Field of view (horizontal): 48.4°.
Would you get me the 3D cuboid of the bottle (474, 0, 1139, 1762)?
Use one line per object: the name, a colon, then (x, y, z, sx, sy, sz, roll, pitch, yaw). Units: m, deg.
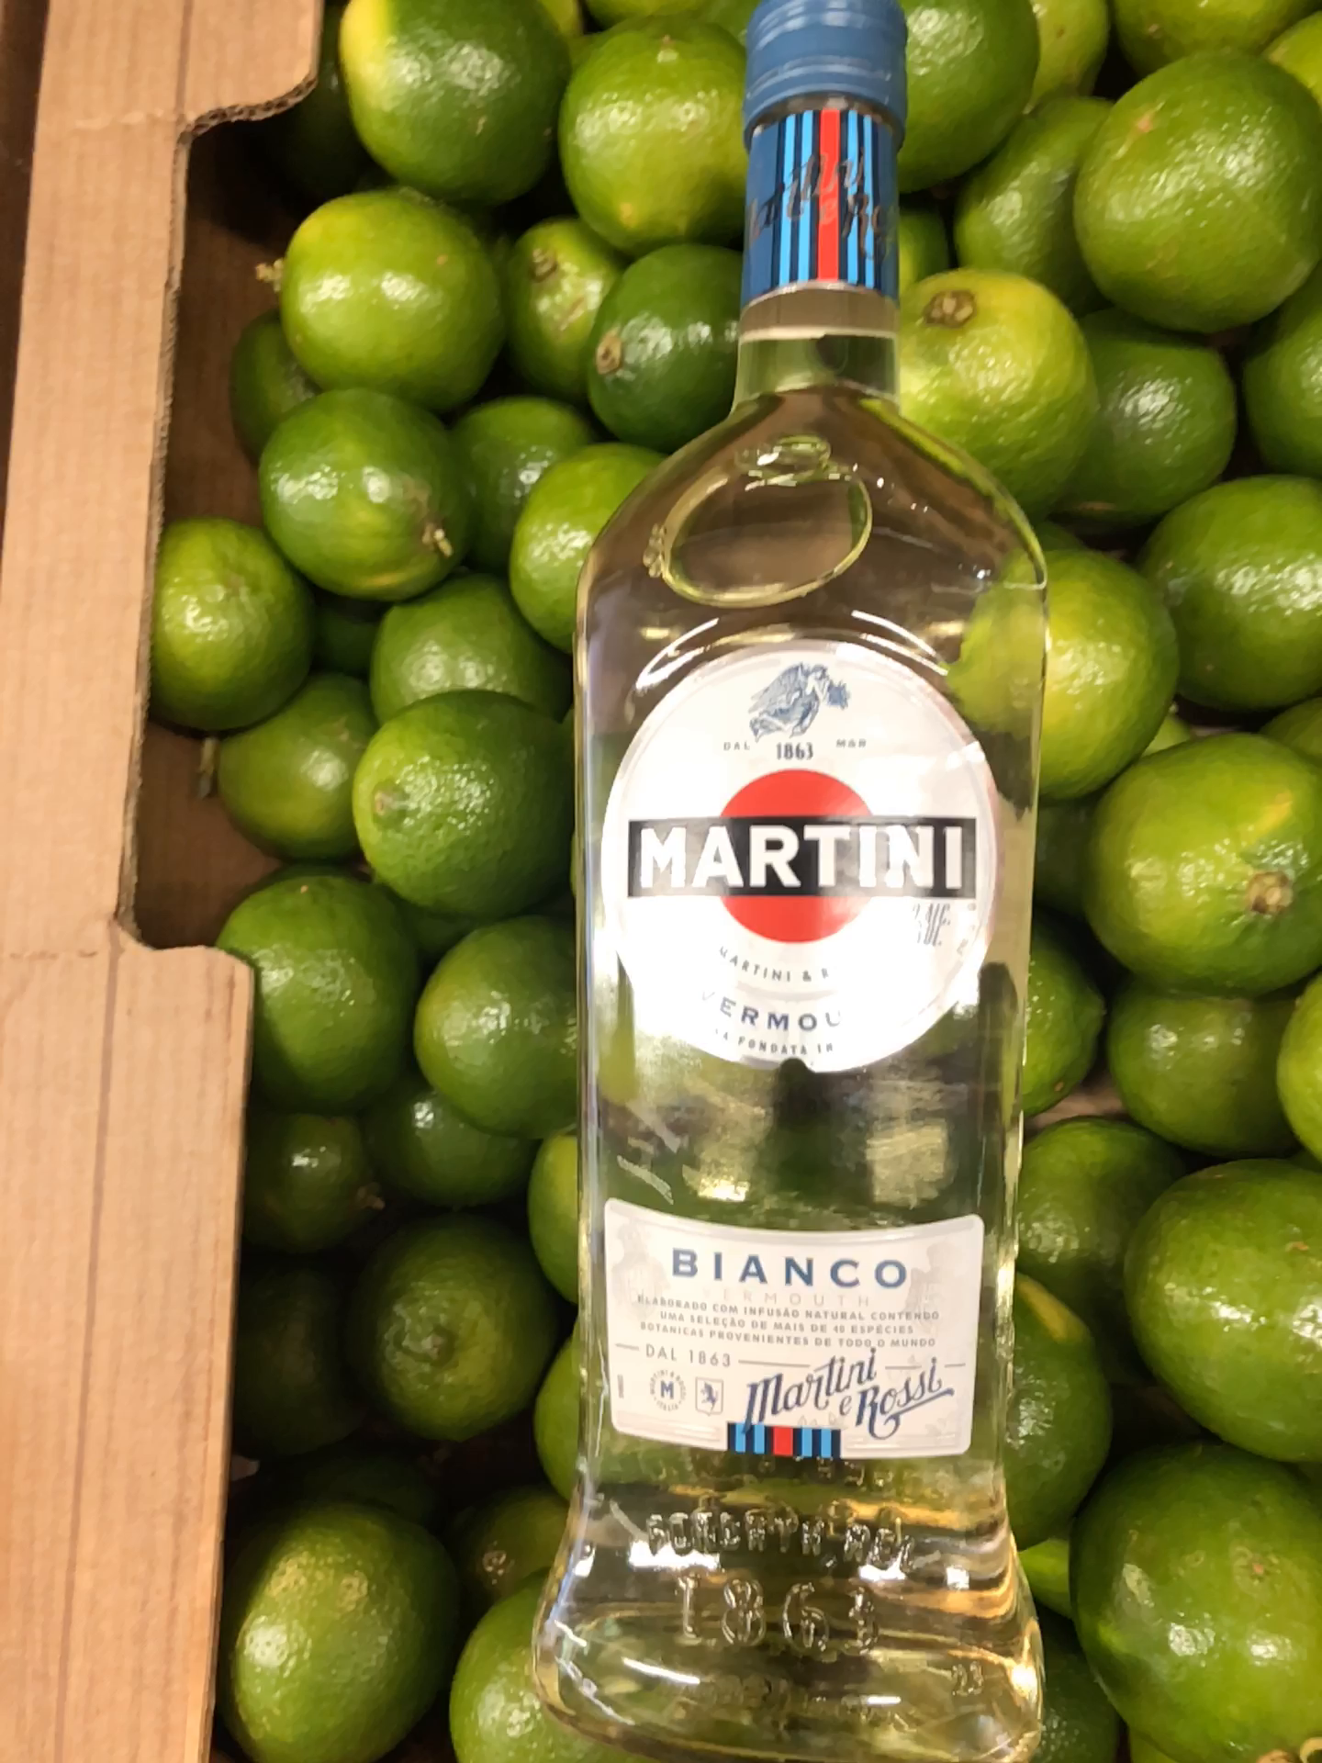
bottle: (0.031, -0.012, 0.265, 0.100, 0.050, 0.320, 0, 82, 14)
